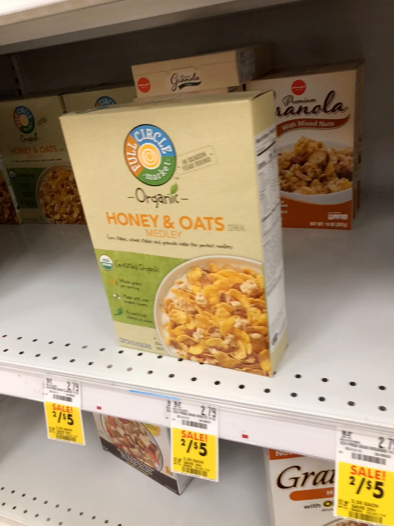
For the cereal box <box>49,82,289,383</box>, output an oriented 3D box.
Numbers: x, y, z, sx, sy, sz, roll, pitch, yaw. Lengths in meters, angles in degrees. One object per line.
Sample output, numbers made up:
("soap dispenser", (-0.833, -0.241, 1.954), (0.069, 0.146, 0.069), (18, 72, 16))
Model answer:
("cereal box", (-0.017, -0.024, 0.424), (0.190, 0.259, 0.060), (5, 29, 27))
